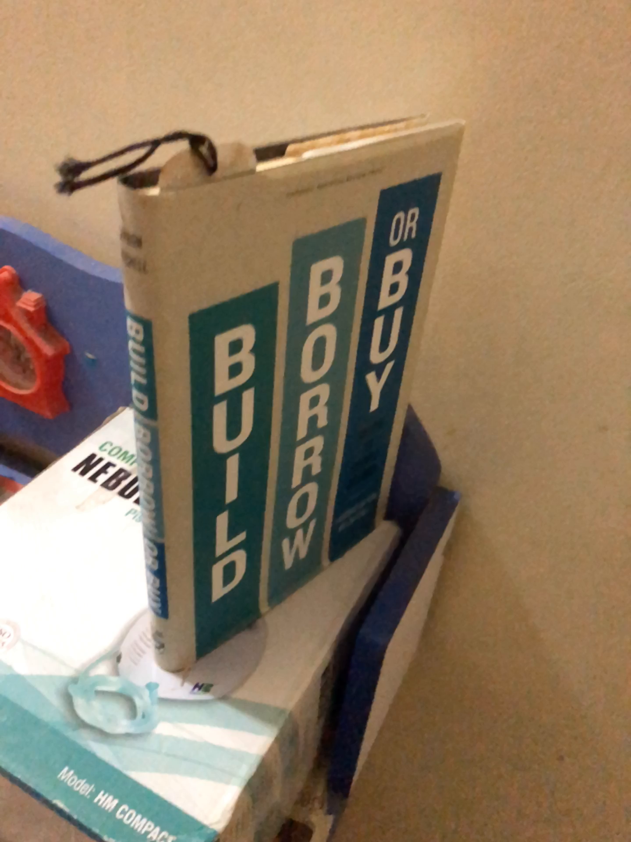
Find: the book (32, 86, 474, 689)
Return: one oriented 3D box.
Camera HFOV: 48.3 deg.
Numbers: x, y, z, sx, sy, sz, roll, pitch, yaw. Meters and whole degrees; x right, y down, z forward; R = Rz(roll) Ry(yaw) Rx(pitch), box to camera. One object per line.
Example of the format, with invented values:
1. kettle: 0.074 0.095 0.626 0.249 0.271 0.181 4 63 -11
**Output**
1. book: -0.017 -0.013 0.329 0.040 0.239 0.181 32 45 32
